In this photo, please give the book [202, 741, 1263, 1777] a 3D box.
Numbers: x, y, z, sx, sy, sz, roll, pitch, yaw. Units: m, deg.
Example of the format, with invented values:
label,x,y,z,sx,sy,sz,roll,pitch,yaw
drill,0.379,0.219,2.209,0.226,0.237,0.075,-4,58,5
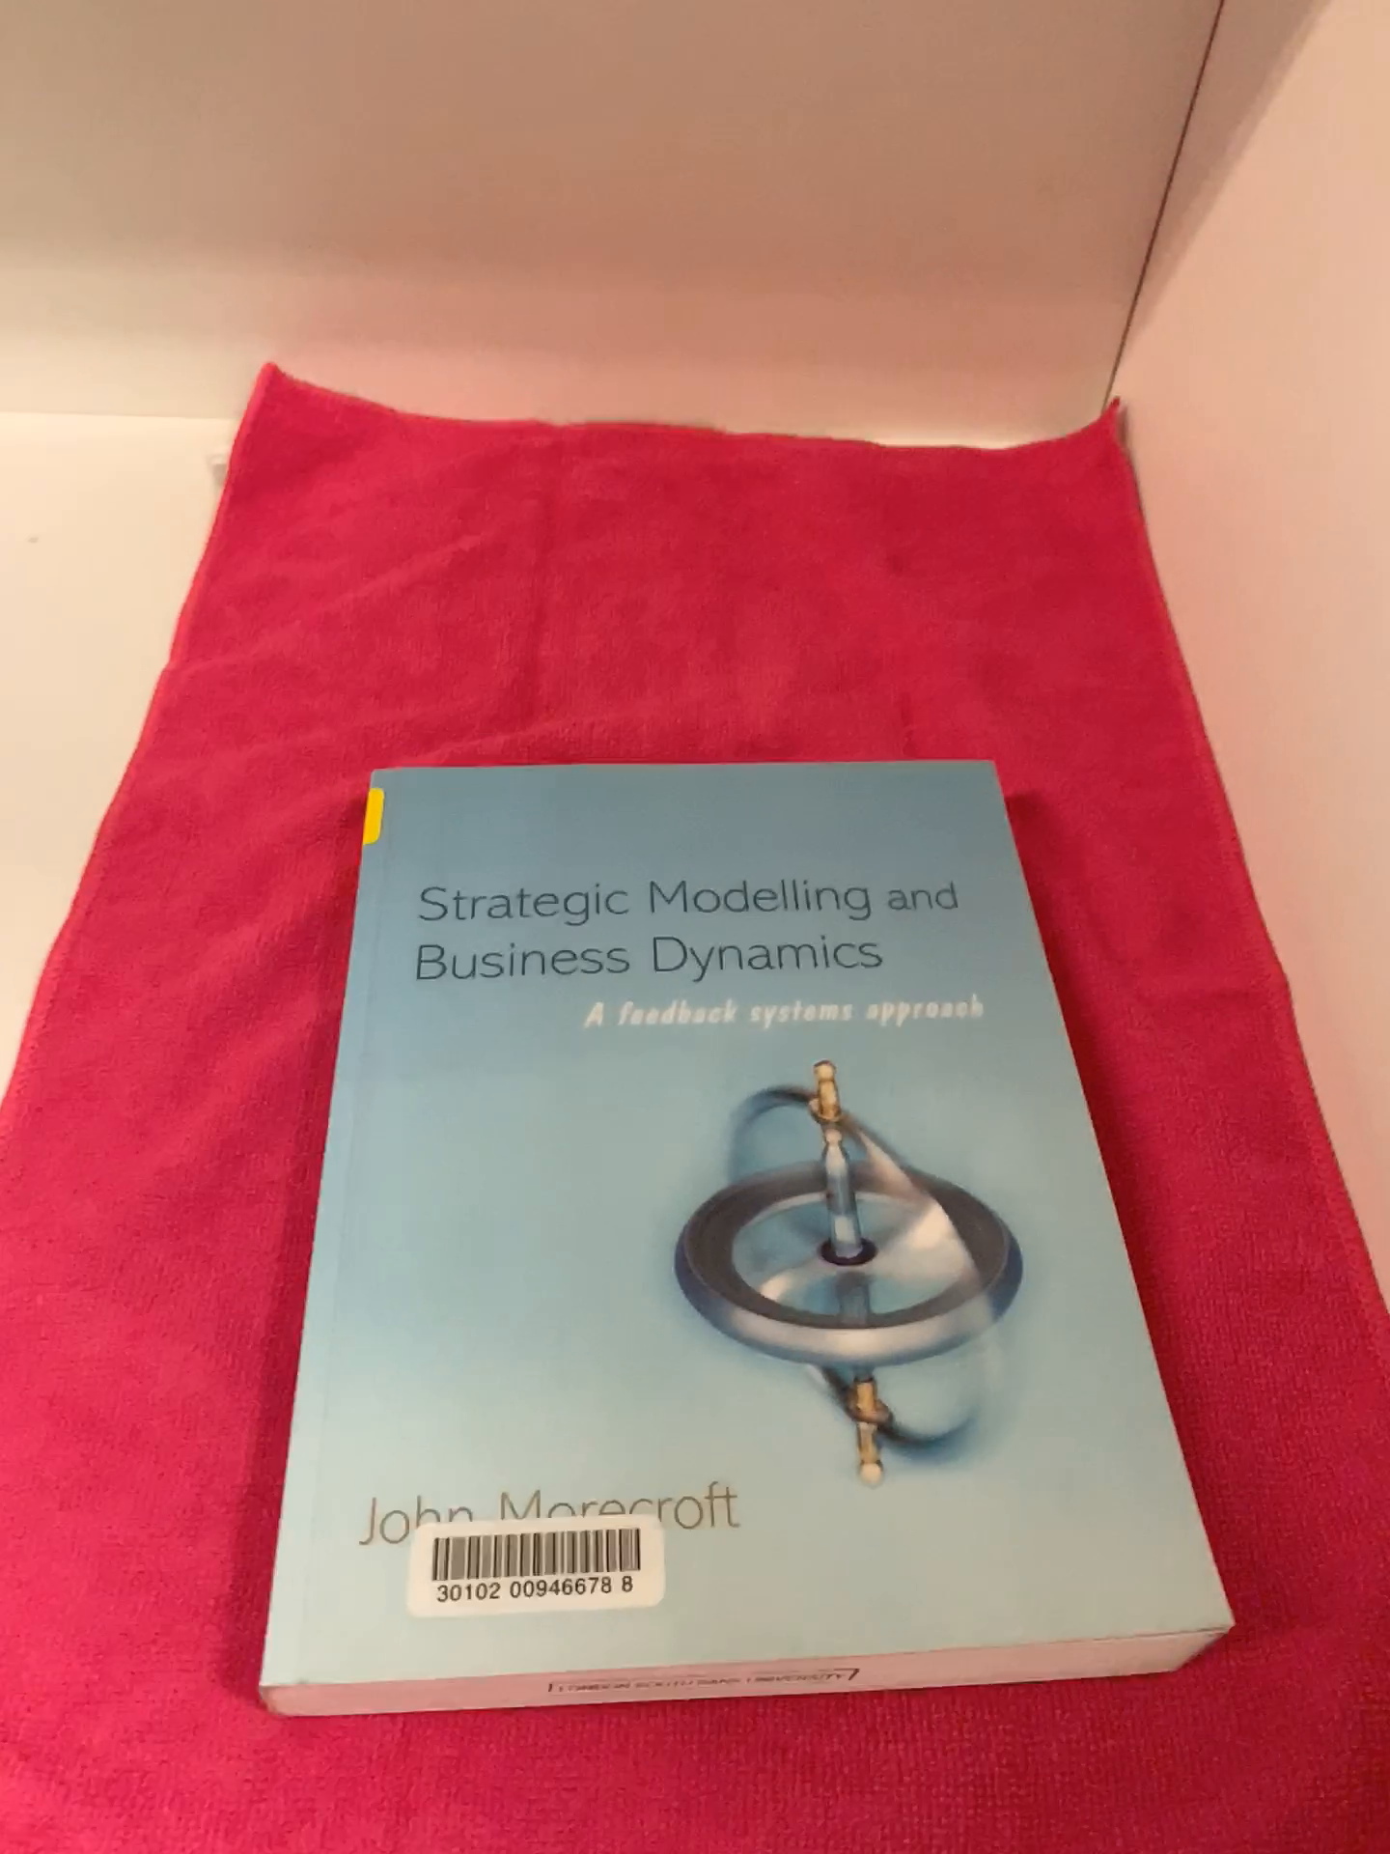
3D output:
label,x,y,z,sx,sy,sz,roll,pitch,yaw
book,0.001,0.055,0.351,0.193,0.033,0.252,-1,51,-4
